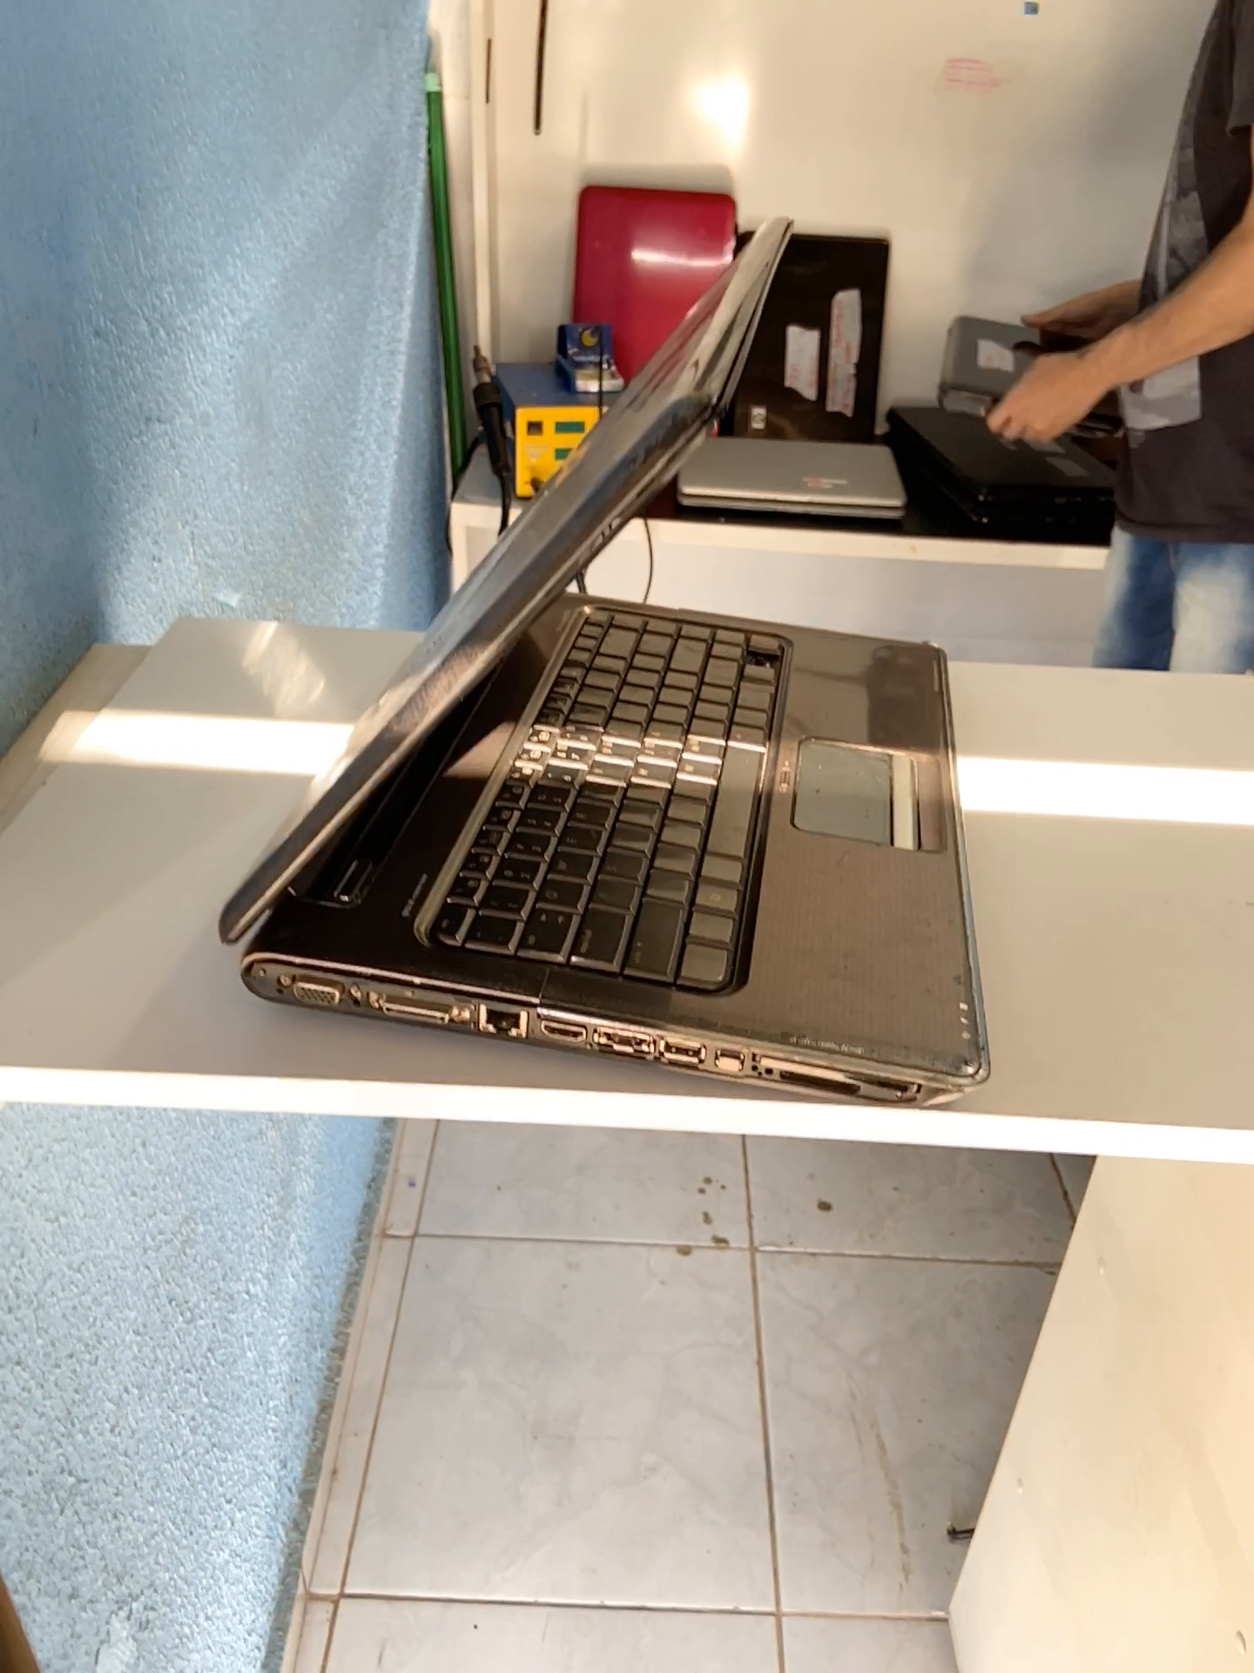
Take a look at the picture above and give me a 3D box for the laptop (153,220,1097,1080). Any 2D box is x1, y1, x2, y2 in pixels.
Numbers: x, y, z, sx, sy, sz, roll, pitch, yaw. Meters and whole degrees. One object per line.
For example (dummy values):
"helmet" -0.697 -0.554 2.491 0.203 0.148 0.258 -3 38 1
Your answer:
"laptop" 0.022 -0.112 0.522 0.244 0.190 0.346 8 32 7
